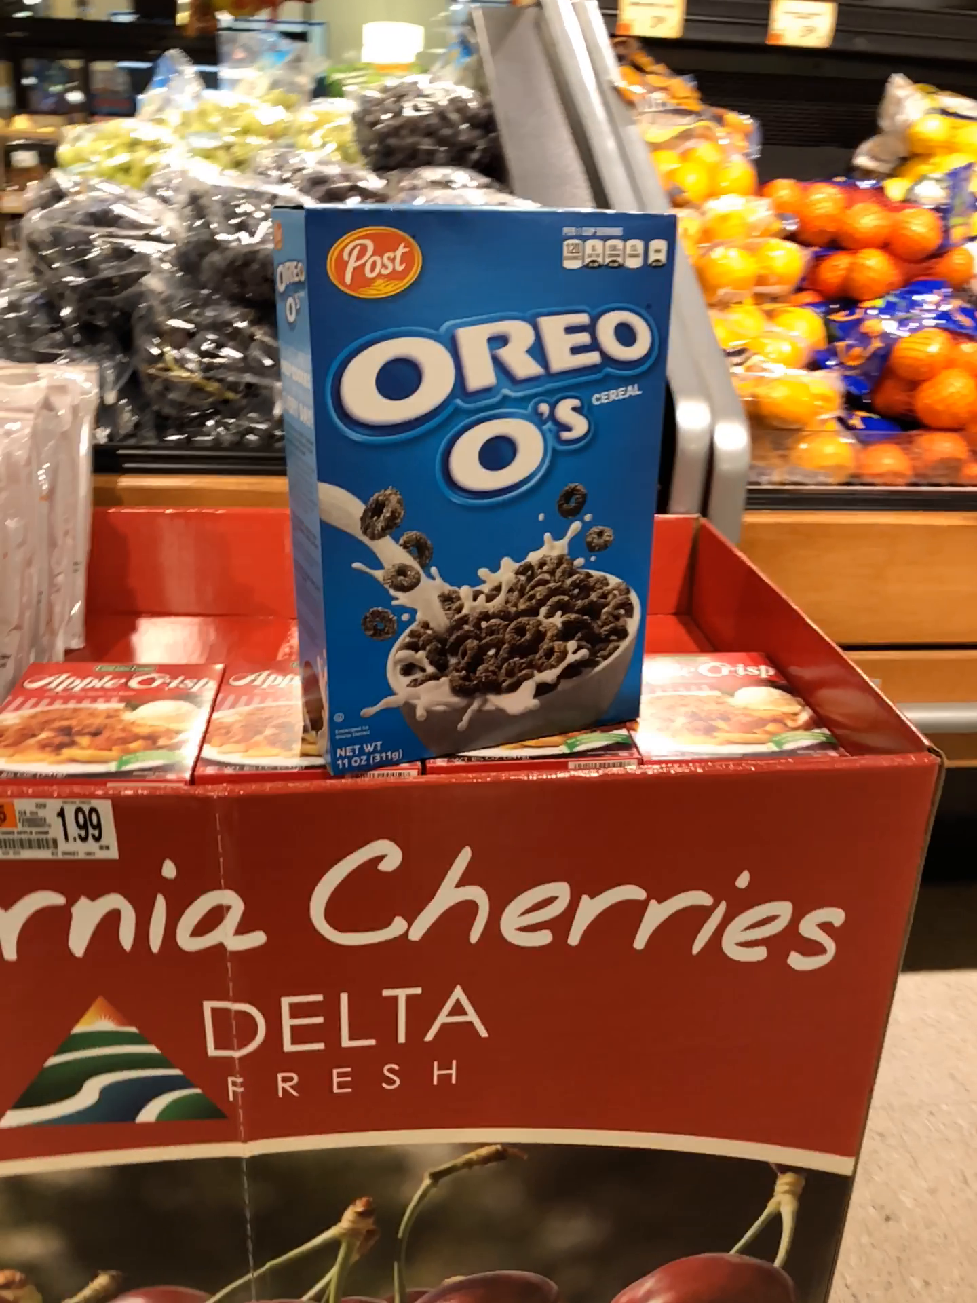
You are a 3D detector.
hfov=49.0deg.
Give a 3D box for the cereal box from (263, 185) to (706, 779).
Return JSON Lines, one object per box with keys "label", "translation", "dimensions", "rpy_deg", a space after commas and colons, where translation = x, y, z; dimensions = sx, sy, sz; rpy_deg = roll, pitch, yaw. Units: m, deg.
{"label": "cereal box", "translation": [-0.001, -0.091, 0.564], "dimensions": [0.200, 0.278, 0.070], "rpy_deg": [-9, 24, -23]}
